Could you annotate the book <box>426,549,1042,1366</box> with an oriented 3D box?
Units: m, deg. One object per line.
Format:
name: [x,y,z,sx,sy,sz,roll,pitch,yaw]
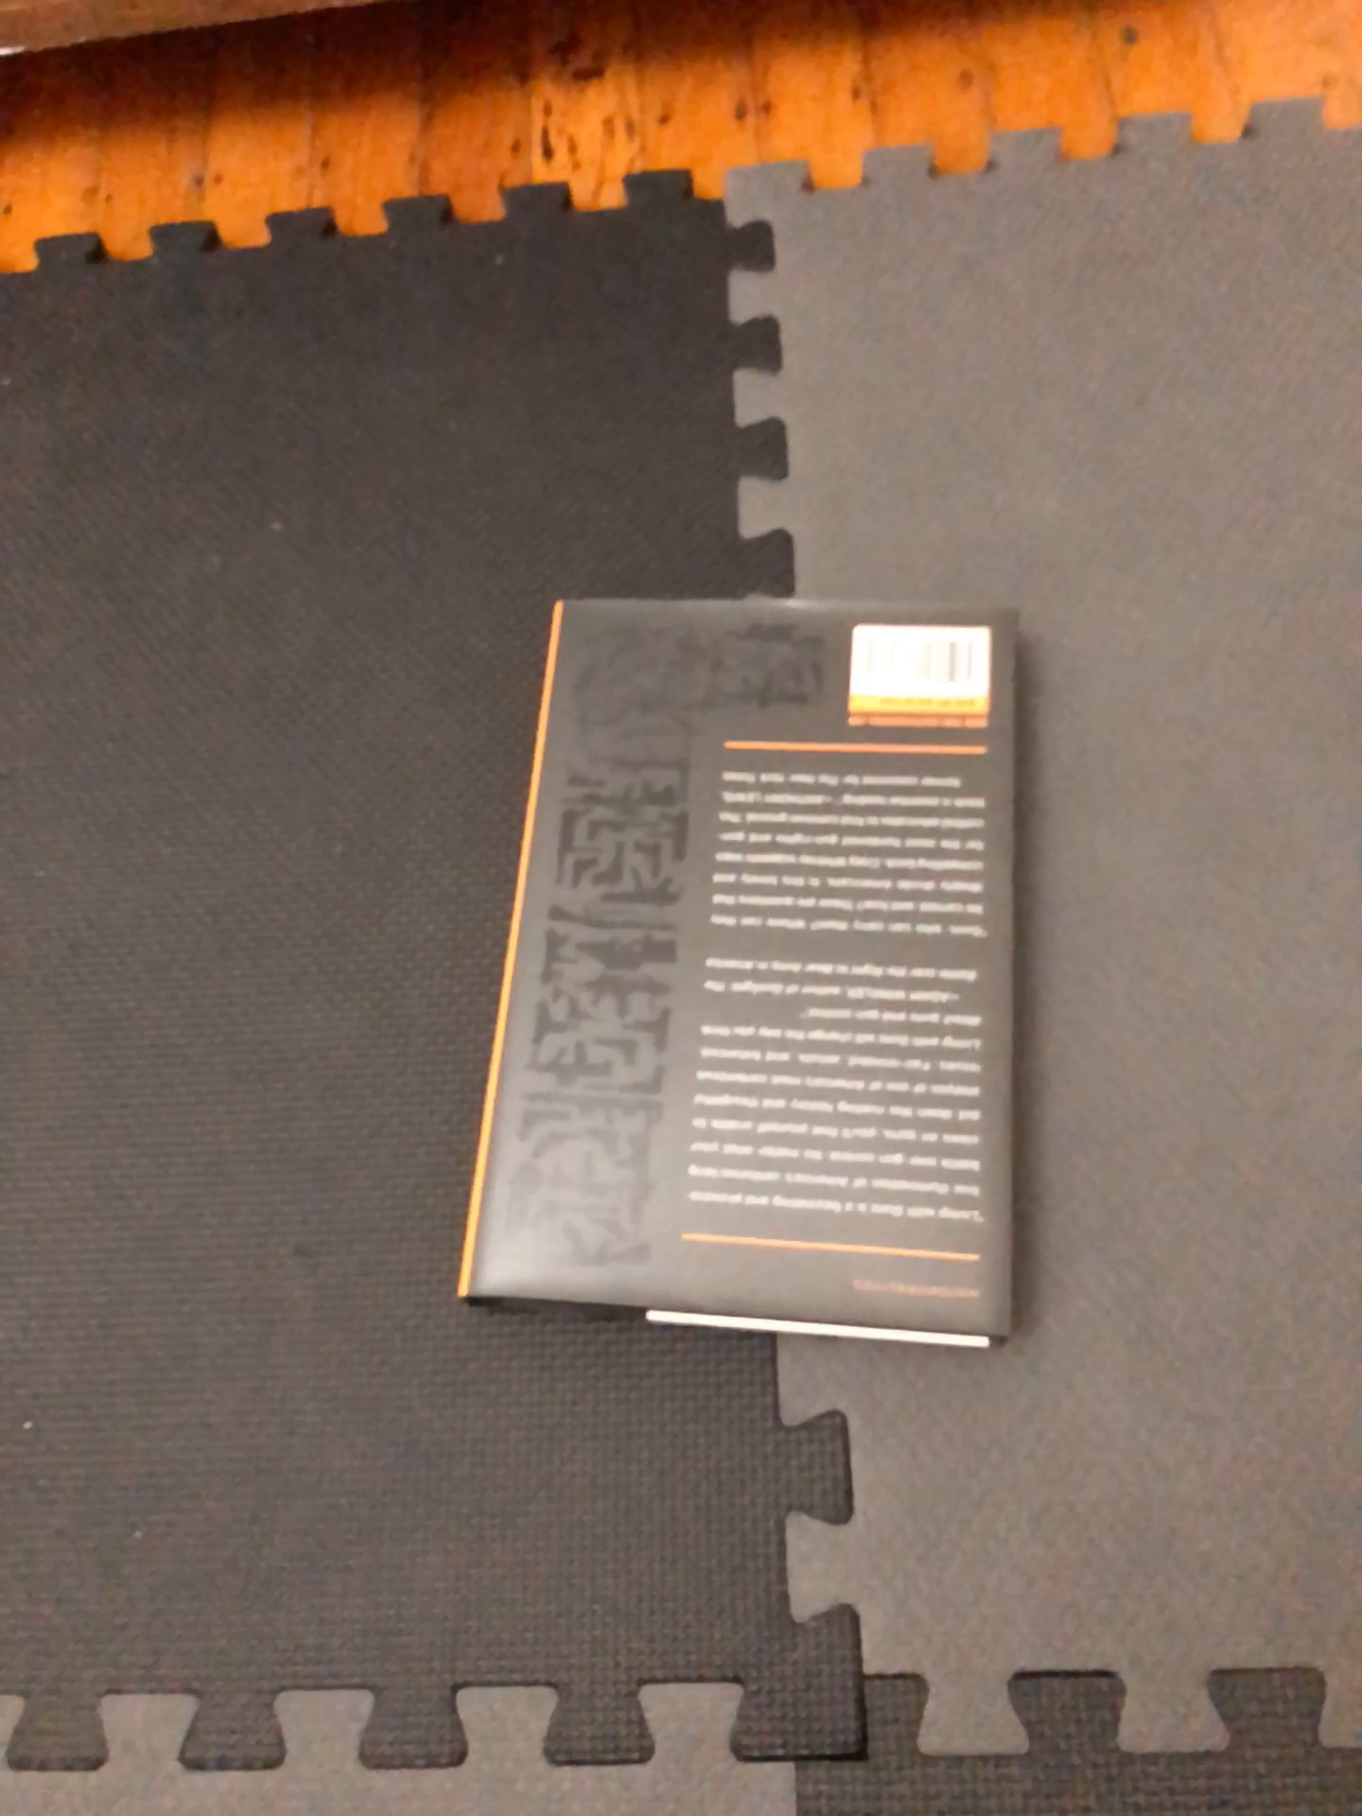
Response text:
book: [0.026,0.004,0.497,0.170,0.040,0.260,4,67,9]
